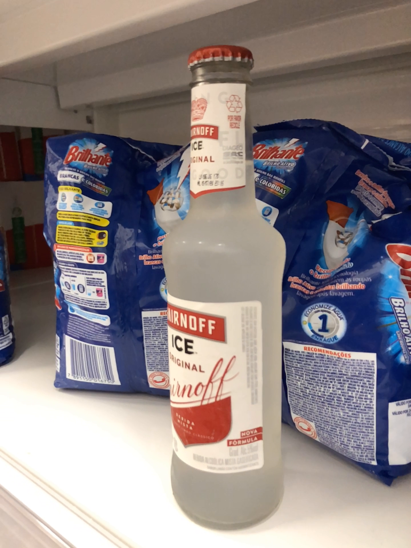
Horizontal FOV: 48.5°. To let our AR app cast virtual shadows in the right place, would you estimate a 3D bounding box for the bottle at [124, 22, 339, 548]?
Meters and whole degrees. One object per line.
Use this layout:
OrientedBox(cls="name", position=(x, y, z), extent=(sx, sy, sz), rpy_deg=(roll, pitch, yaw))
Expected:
OrientedBox(cls="bottle", position=(0.011, 0.010, 0.216), extent=(0.060, 0.209, 0.070), rpy_deg=(-11, 15, -40))
